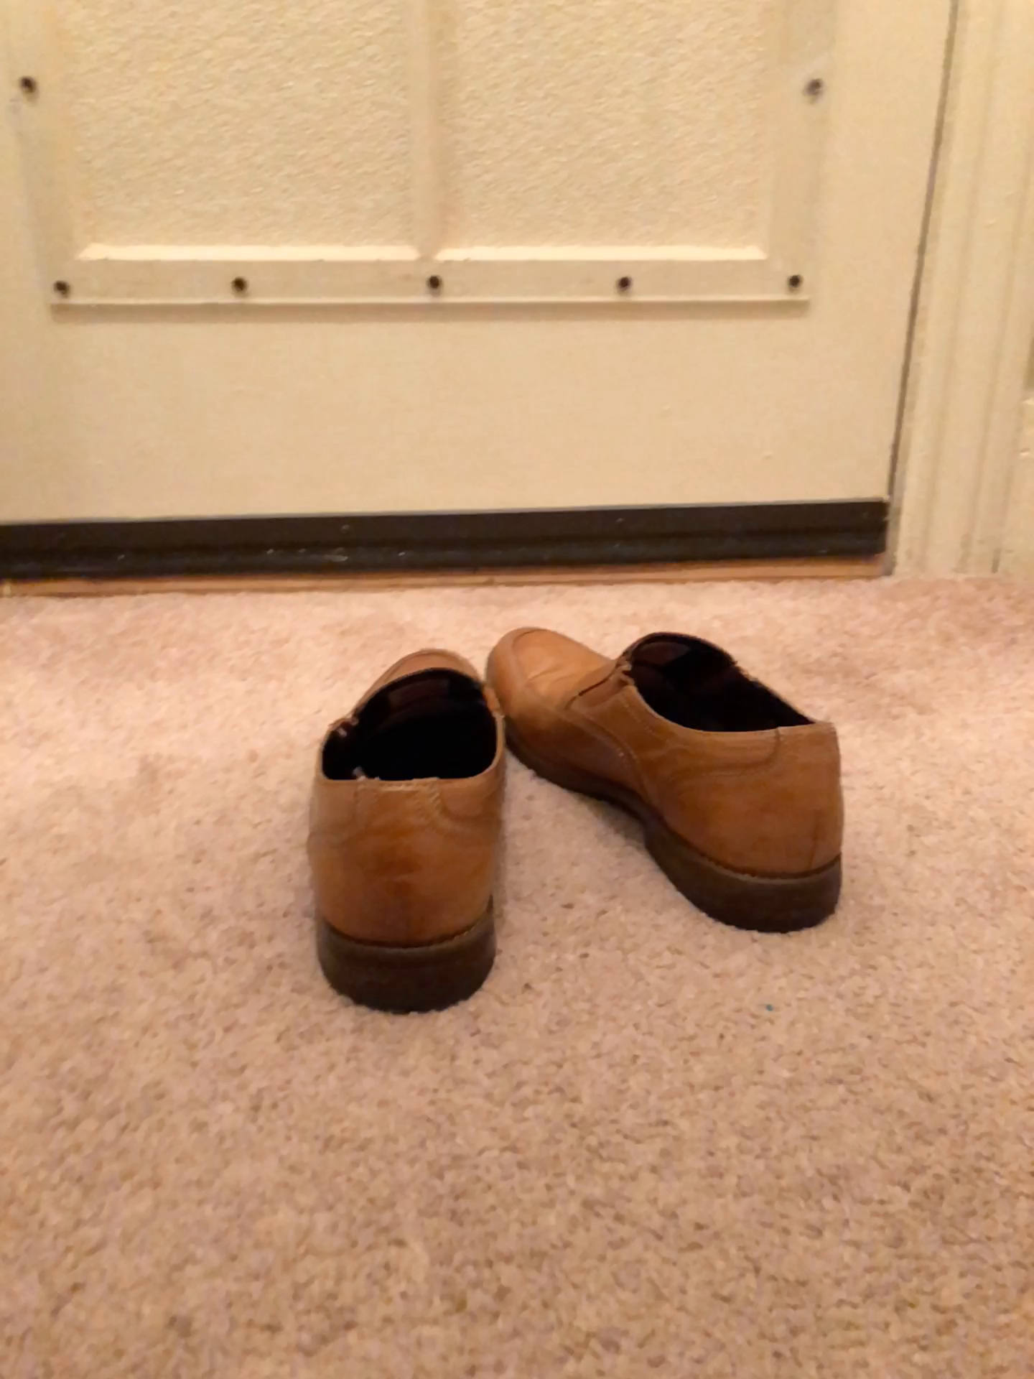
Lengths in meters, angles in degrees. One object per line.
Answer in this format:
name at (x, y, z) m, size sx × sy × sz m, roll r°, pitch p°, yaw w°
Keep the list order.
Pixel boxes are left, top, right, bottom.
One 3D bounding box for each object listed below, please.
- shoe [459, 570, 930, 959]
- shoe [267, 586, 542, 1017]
shoe at (0.071, 0.017, 0.620) m, size 0.107 × 0.089 × 0.311 m, roll -9°, pitch 21°, yaw -20°
shoe at (-0.049, 0.031, 0.580) m, size 0.100 × 0.090 × 0.321 m, roll -1°, pitch 19°, yaw -3°
